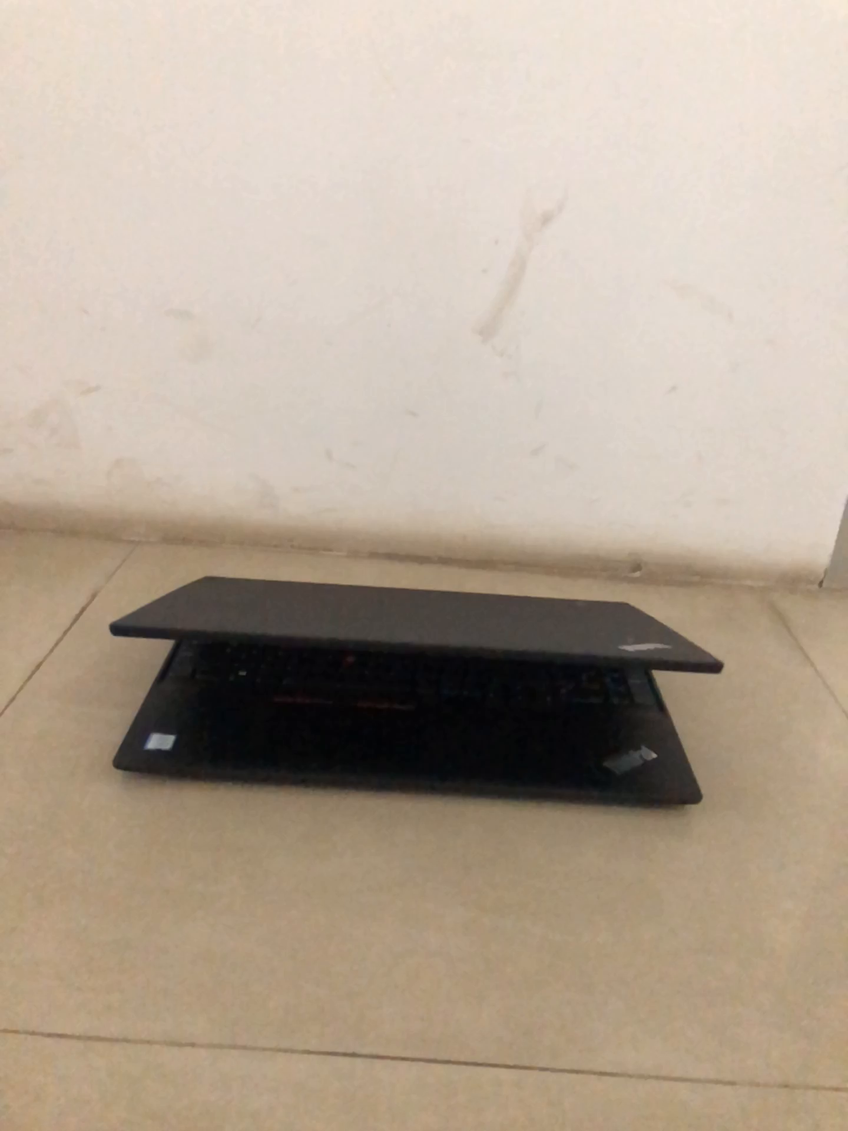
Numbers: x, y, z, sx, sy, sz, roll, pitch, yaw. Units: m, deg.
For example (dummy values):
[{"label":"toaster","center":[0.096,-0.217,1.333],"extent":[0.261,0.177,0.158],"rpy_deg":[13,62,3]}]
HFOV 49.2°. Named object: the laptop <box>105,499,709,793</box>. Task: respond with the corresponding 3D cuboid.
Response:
[{"label":"laptop","center":[-0.012,0.043,0.654],"extent":[0.349,0.071,0.237],"rpy_deg":[3,27,-1]}]
